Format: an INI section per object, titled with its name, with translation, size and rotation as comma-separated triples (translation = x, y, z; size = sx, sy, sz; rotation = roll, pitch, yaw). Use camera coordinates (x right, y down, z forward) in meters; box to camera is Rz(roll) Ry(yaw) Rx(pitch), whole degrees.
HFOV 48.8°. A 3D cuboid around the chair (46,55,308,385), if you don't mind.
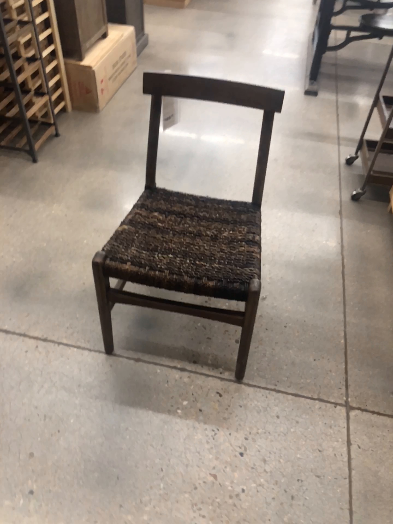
[chair]
translation = -0.024, -0.104, 1.386
size = 0.548, 0.816, 0.535
rotation = 11, 46, 6
